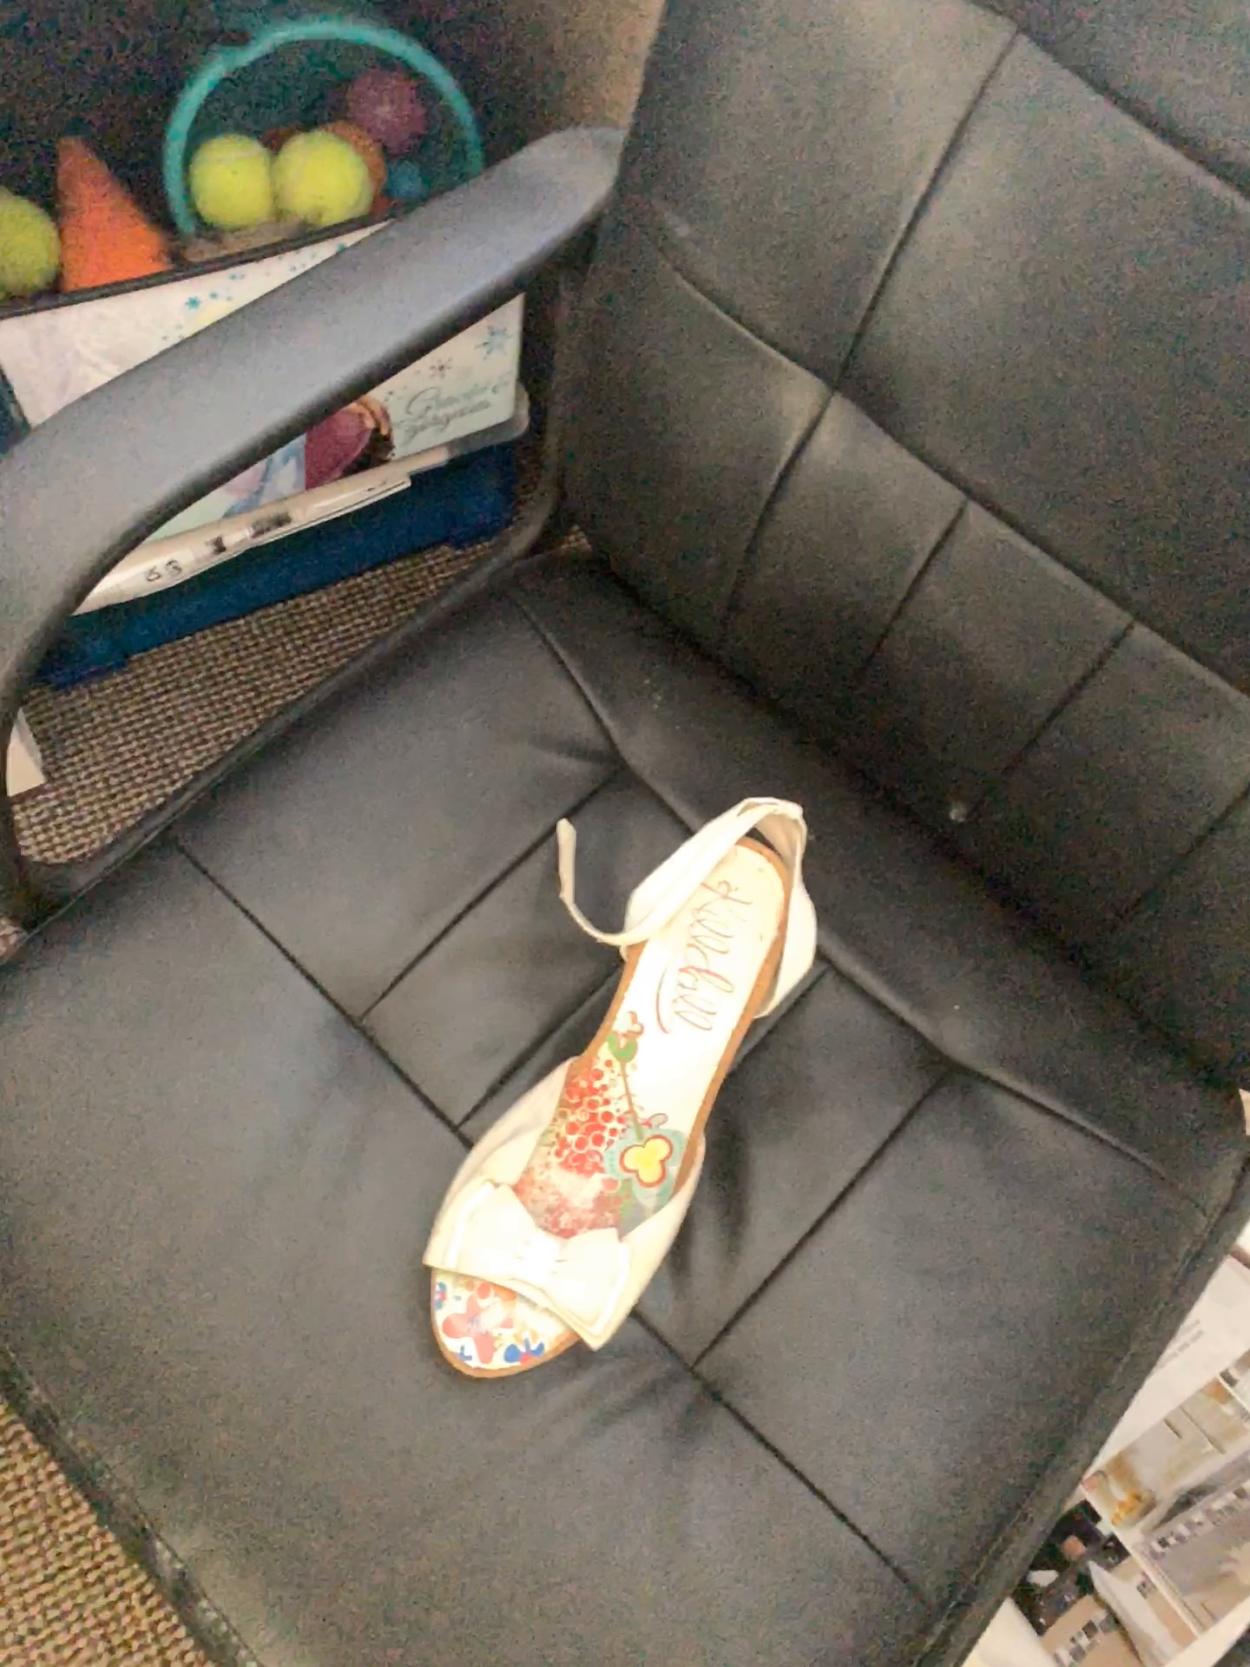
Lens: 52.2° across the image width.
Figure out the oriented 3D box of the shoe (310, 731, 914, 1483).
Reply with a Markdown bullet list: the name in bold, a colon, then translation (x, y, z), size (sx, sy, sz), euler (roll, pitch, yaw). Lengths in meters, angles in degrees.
- **shoe**: translation (-0.005, 0.115, 0.524), size (0.100, 0.189, 0.241), euler (31, 66, 6)
